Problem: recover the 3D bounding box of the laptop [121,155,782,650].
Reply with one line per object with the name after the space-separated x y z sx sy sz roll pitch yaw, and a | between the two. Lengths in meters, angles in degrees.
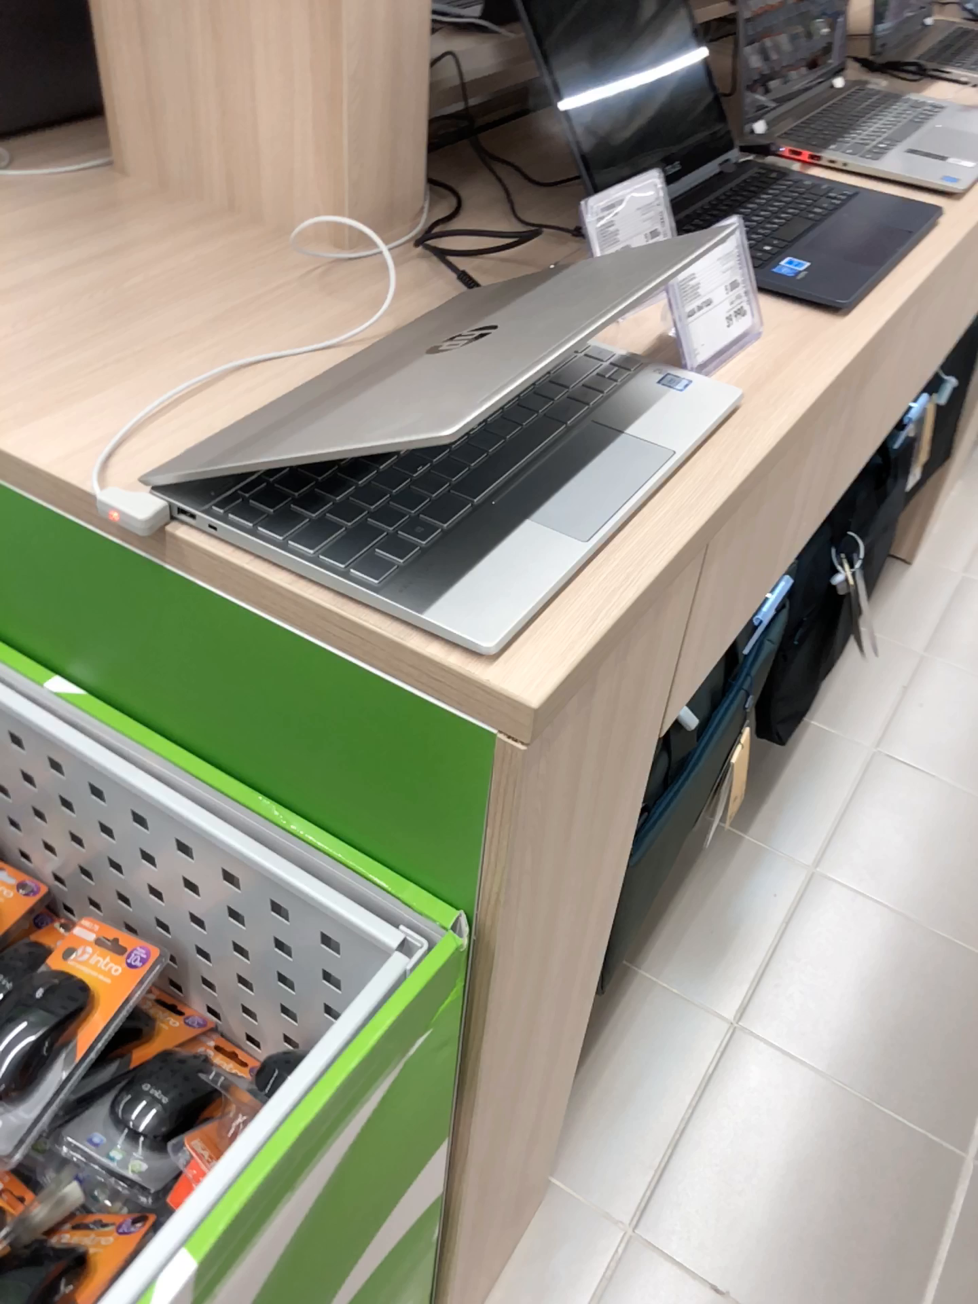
-0.001 -0.165 0.601 0.206 0.095 0.323 26 45 21 | laptop
